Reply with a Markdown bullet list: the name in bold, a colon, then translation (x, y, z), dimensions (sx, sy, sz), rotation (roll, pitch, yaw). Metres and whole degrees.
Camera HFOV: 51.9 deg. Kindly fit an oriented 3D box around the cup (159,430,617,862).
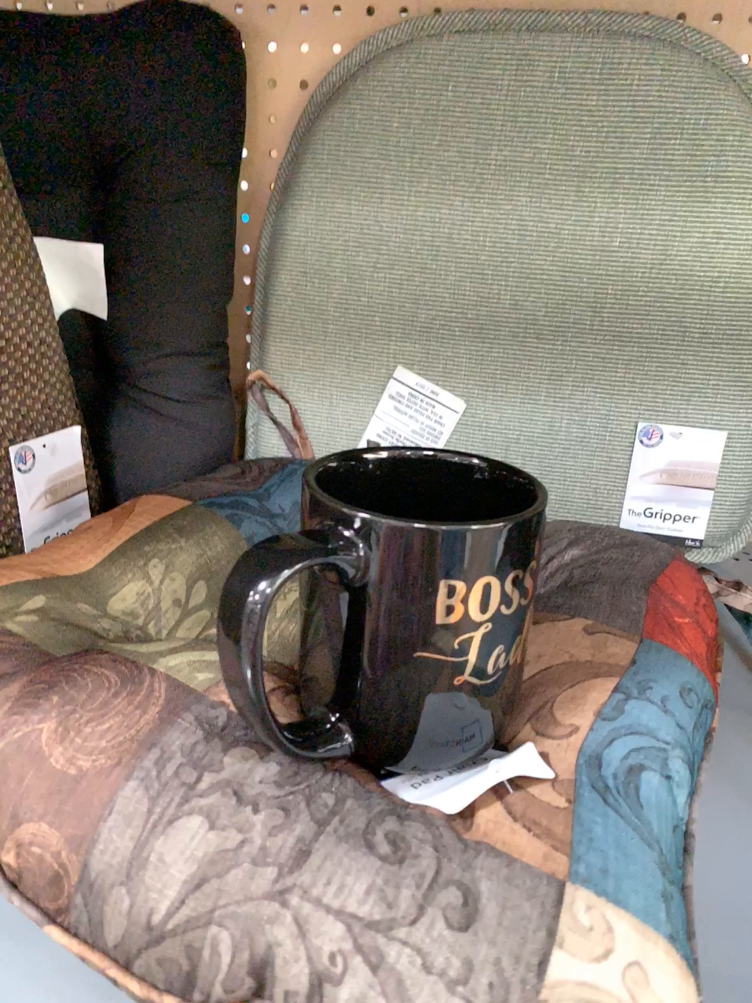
- **cup**: translation (0.006, 0.037, 0.294), dimensions (0.100, 0.100, 0.130), rotation (22, 21, 38)
